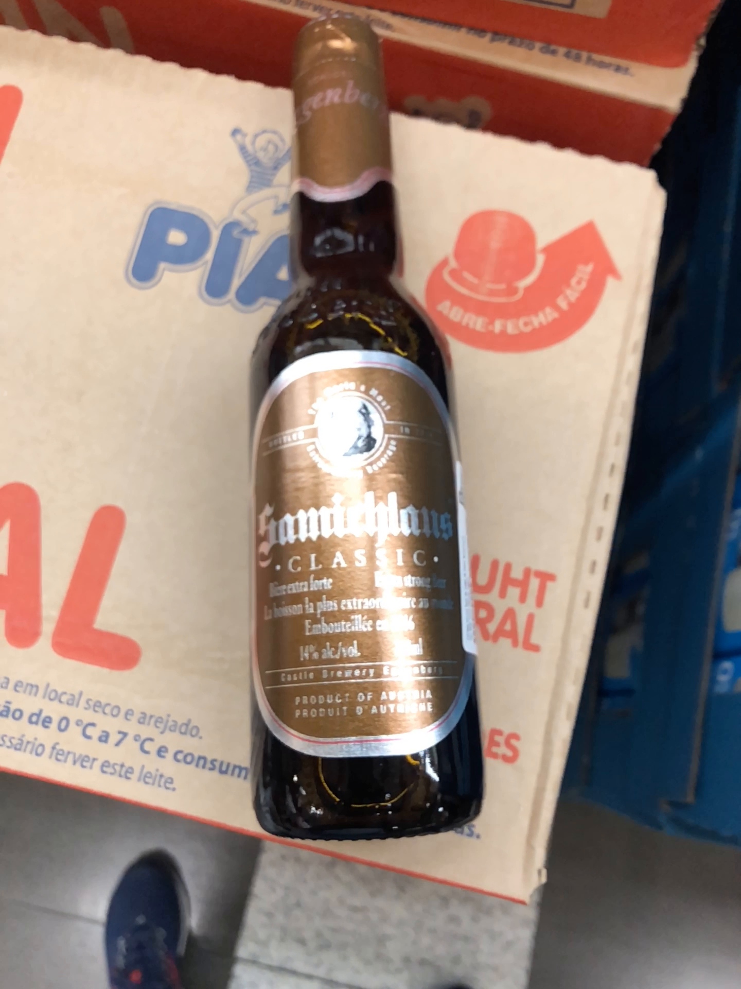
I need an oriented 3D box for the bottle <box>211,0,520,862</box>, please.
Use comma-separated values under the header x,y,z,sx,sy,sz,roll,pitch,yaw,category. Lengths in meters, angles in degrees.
x,y,z,sx,sy,sz,roll,pitch,yaw,category
-0.007,-0.042,0.225,0.060,0.050,0.250,-3,76,-2,bottle
